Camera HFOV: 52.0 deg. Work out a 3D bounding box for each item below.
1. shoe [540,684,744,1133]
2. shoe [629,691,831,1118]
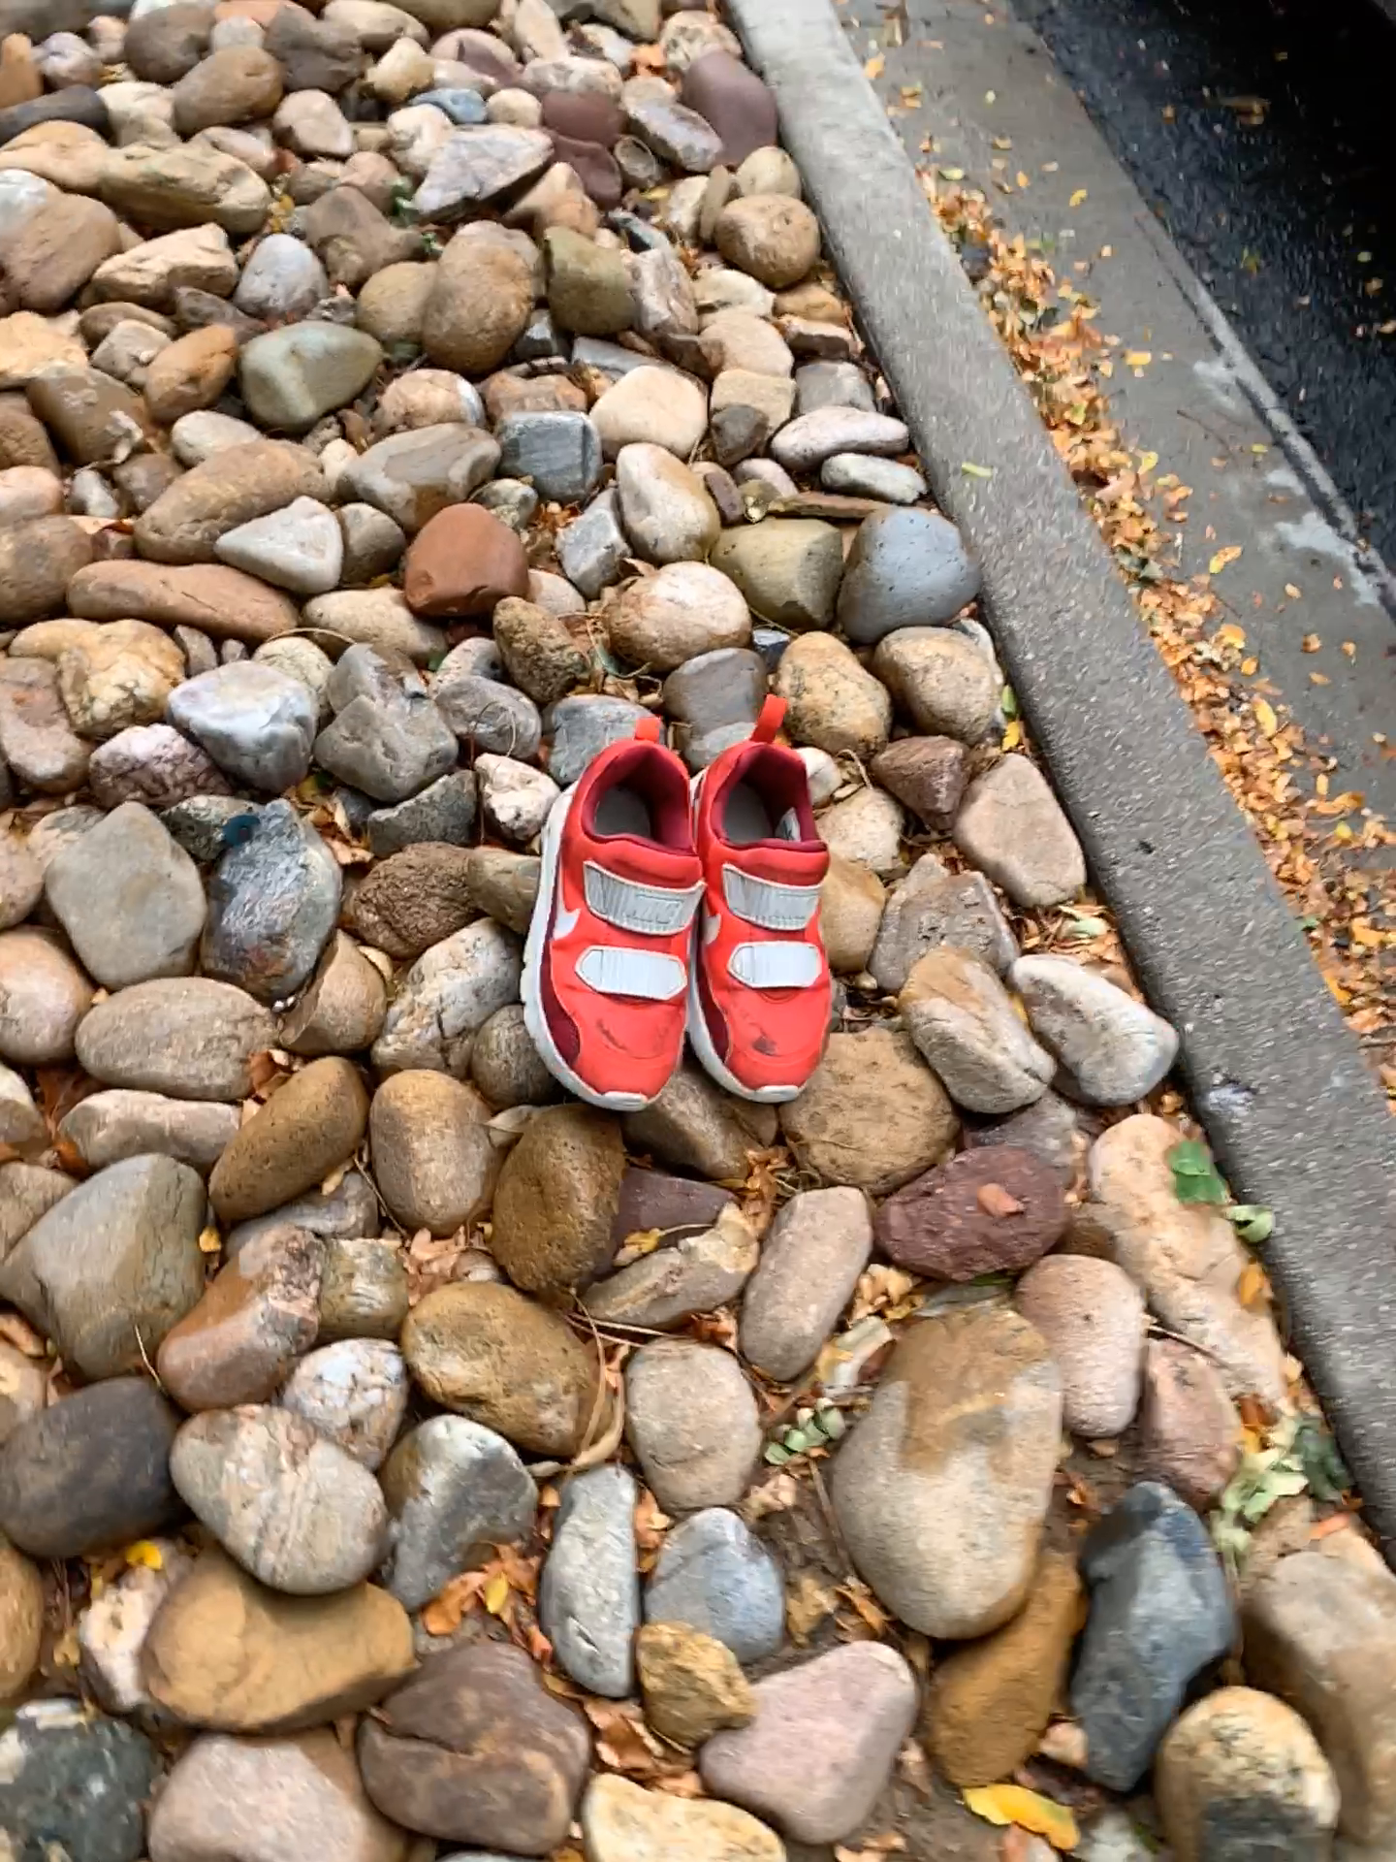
[{"bbox_3d":[-0.034,-0.009,0.756,0.080,0.100,0.210,4,68,-16],"label":"shoe"},{"bbox_3d":[0.014,-0.010,0.783,0.080,0.100,0.210,4,75,-16],"label":"shoe"}]
